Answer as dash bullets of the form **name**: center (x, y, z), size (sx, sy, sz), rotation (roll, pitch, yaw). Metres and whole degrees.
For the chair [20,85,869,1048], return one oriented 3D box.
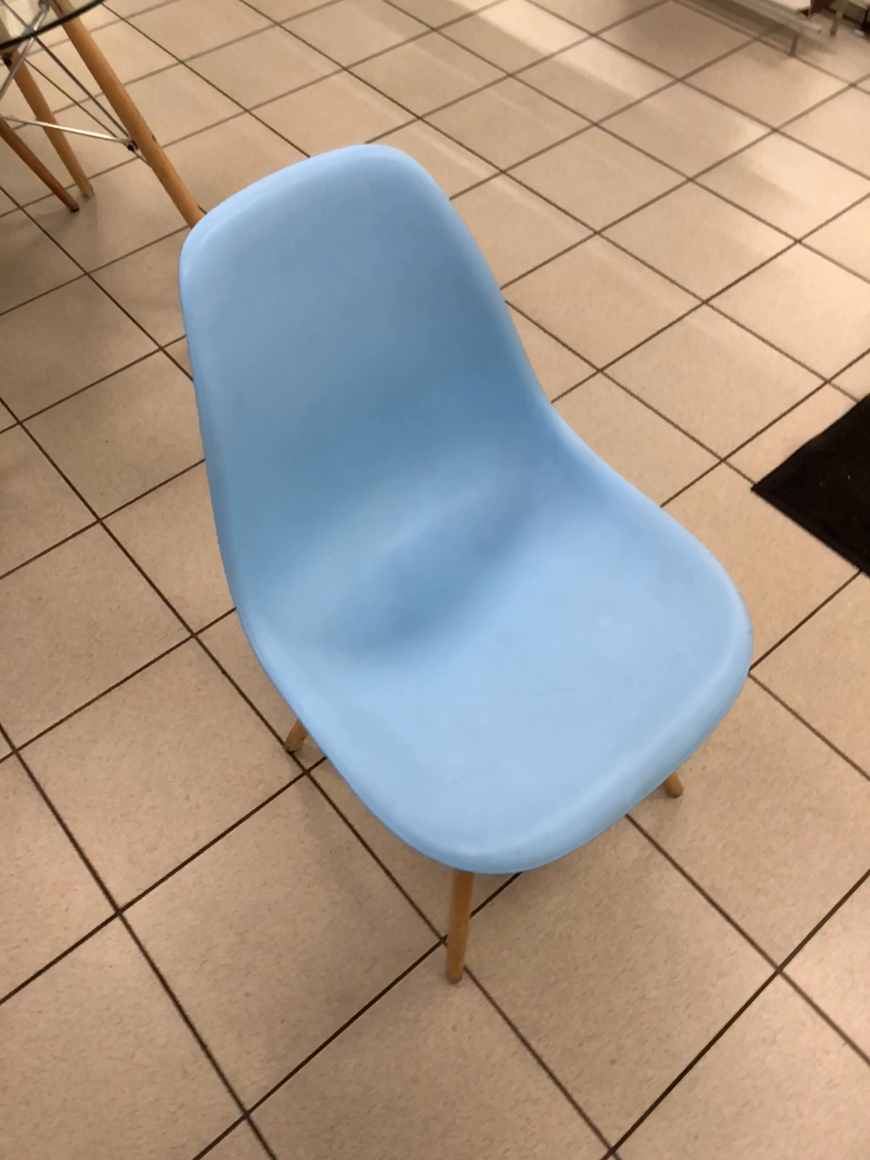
- **chair**: center (0.032, 0.039, 1.041), size (0.471, 0.777, 0.571), rotation (-34, 62, -21)
